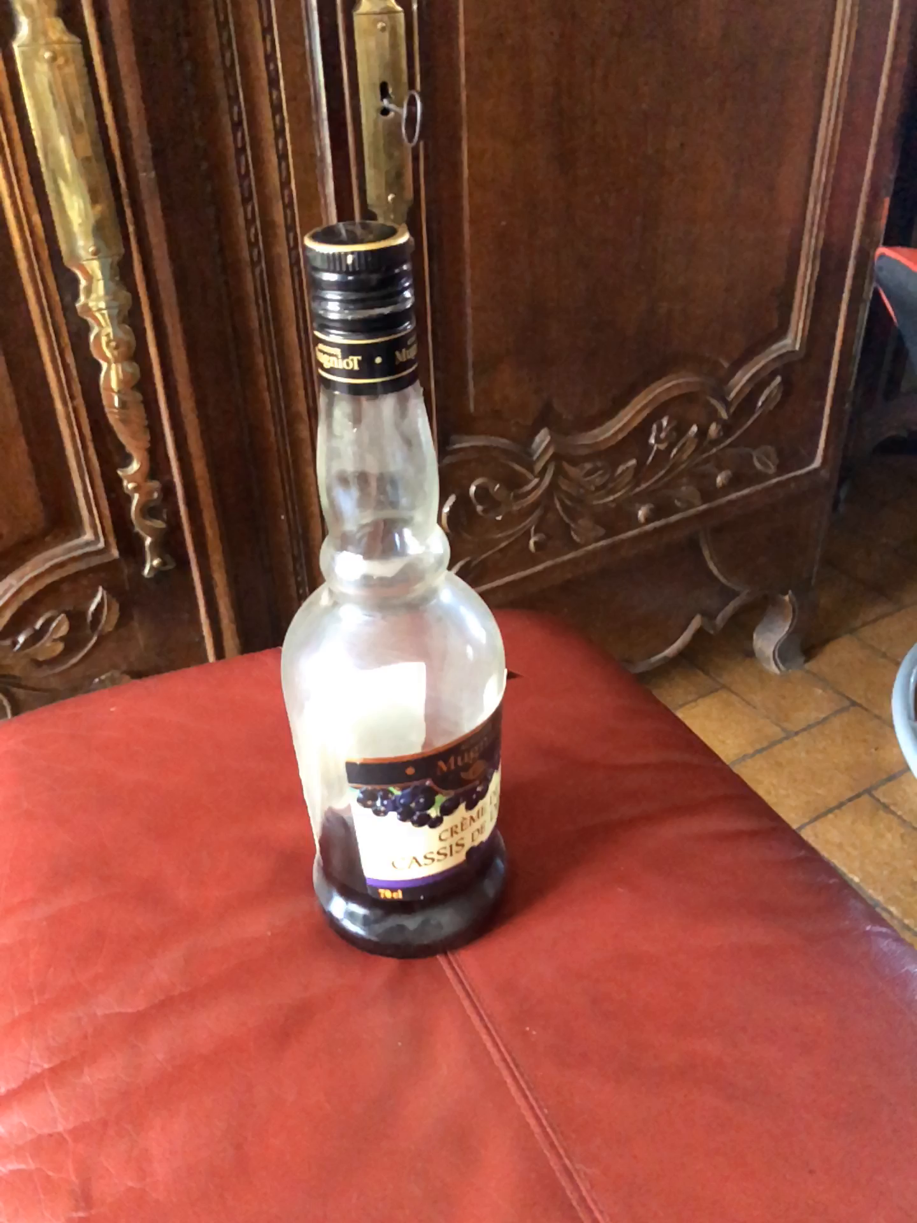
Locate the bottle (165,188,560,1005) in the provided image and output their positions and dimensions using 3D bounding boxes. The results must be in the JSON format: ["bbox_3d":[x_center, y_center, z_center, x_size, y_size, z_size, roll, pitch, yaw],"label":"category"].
[{"bbox_3d":[-0.023,0.007,0.365,0.080,0.278,0.081,-1,33,1],"label":"bottle"}]
